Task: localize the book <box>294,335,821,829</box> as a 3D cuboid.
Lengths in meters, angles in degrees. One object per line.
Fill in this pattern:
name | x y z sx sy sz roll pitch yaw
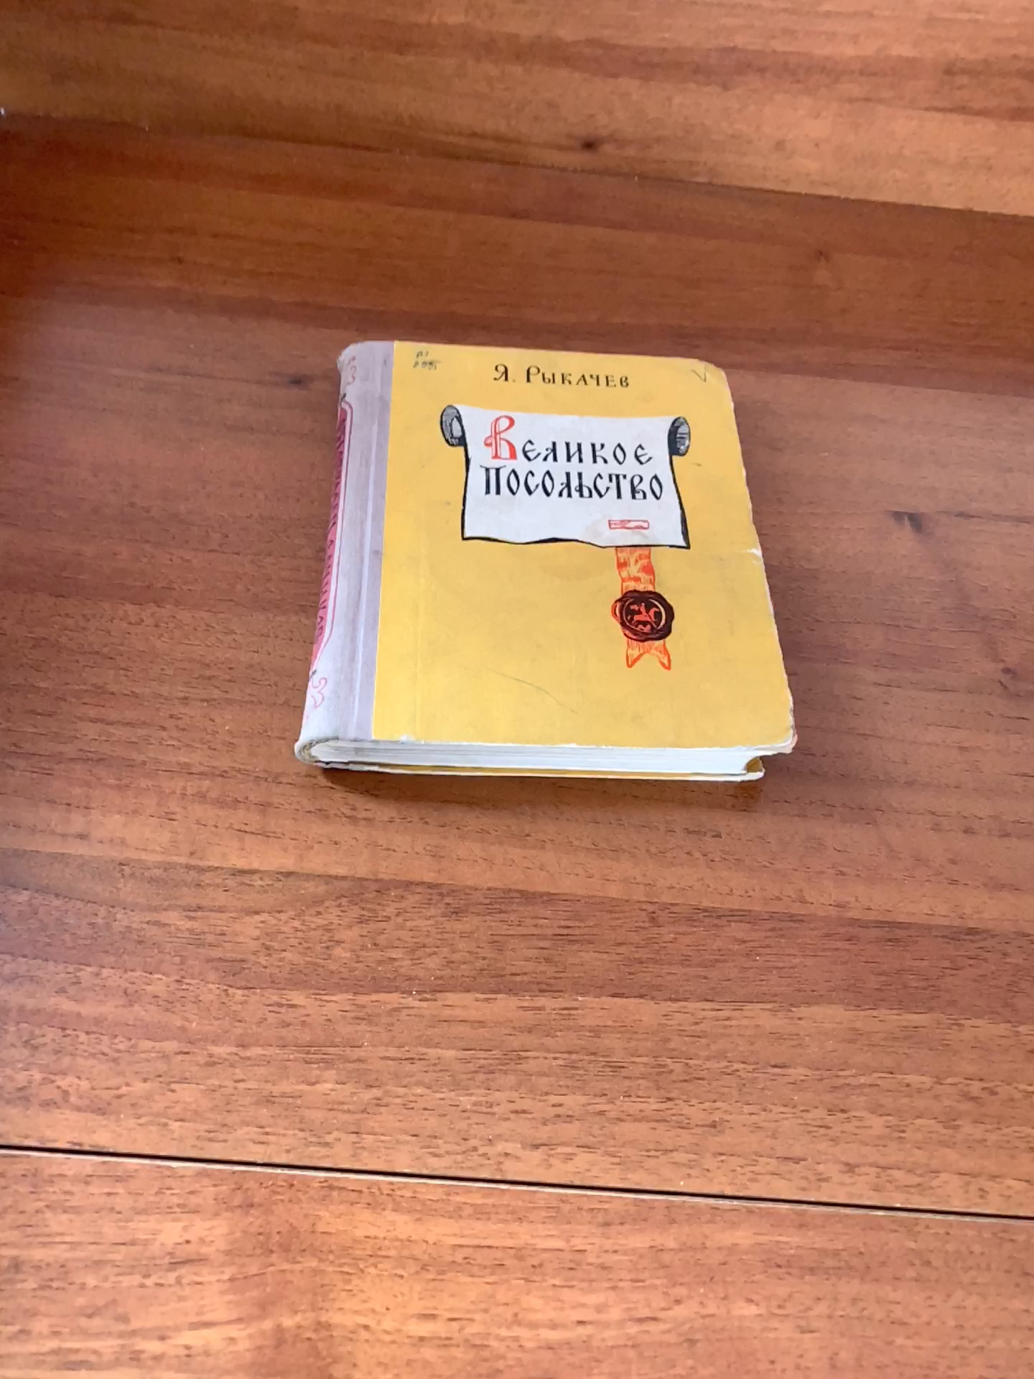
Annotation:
book | 0.011 -0.041 0.339 0.142 0.023 0.171 3 58 -5
